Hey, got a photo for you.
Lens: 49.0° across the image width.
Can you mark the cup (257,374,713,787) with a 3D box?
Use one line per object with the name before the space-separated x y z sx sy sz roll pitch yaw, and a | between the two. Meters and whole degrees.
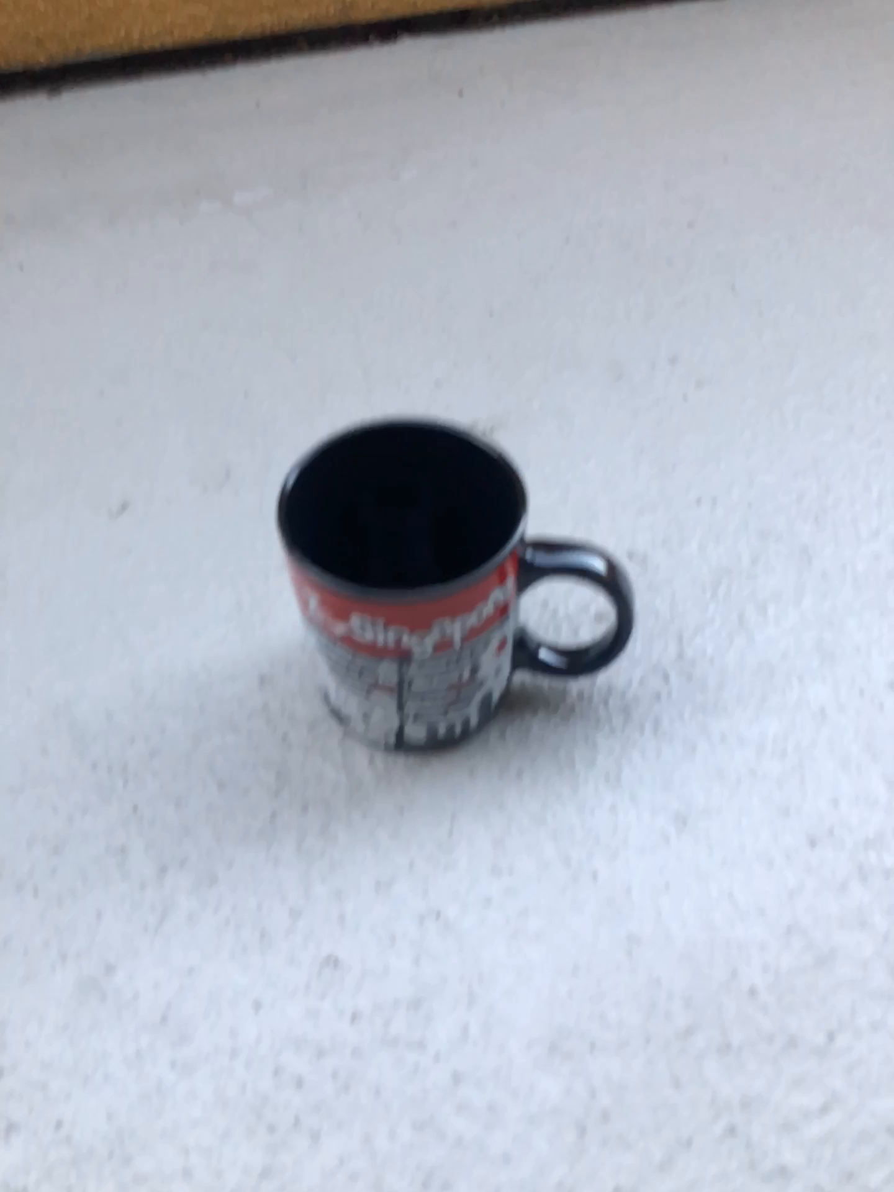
cup | 0.016 -0.003 0.345 0.130 0.110 0.080 7 53 6
